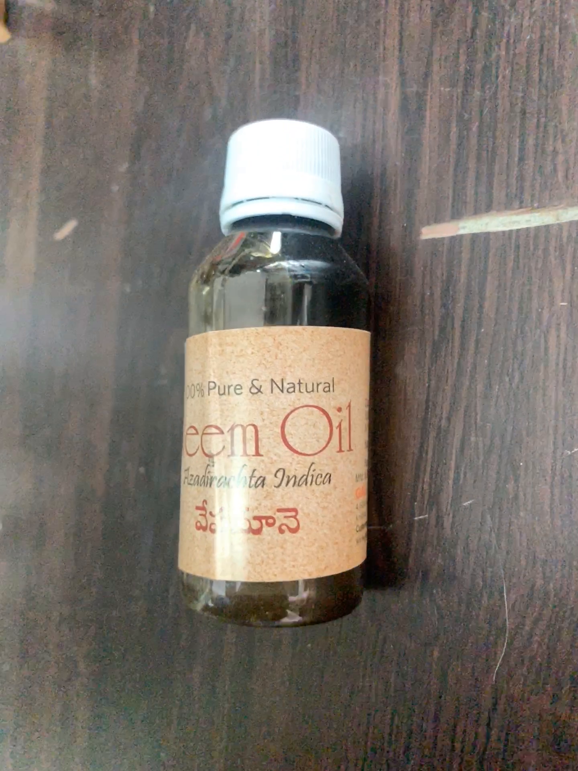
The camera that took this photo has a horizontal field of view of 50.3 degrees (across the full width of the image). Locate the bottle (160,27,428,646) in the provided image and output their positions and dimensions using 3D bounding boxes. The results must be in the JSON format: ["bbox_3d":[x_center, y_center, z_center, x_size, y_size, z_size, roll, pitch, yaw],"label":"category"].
[{"bbox_3d":[0.004,-0.010,0.147,0.050,0.040,0.120,-1,85,25],"label":"bottle"}]
